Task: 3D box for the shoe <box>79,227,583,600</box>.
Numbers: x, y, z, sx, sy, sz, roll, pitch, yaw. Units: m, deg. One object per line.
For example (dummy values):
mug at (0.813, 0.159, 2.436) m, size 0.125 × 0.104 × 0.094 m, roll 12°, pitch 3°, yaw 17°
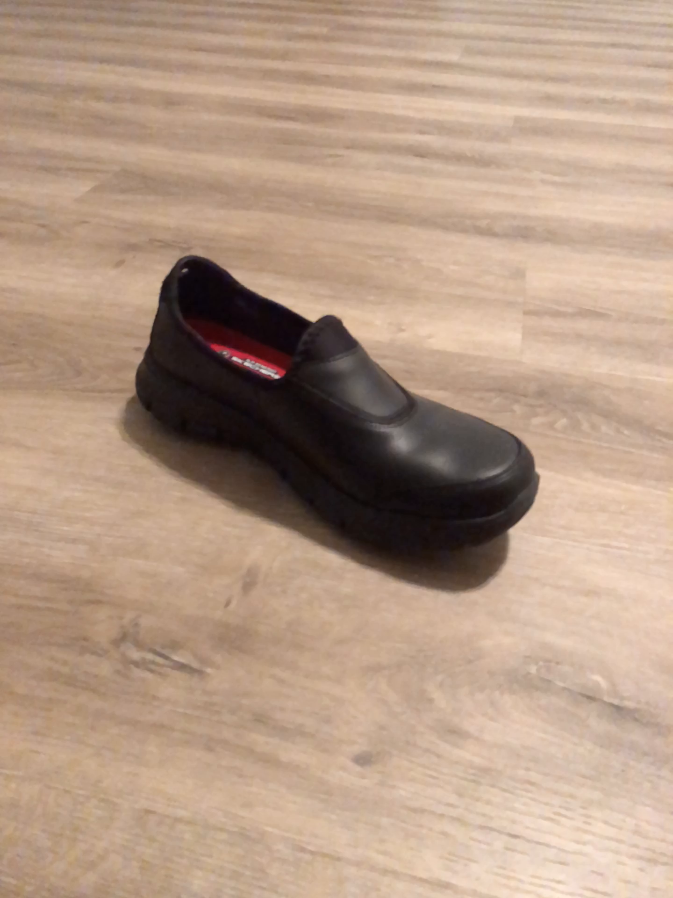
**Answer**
shoe at (-0.012, -0.033, 0.393) m, size 0.240 × 0.090 × 0.090 m, roll 24°, pitch 42°, yaw 26°
